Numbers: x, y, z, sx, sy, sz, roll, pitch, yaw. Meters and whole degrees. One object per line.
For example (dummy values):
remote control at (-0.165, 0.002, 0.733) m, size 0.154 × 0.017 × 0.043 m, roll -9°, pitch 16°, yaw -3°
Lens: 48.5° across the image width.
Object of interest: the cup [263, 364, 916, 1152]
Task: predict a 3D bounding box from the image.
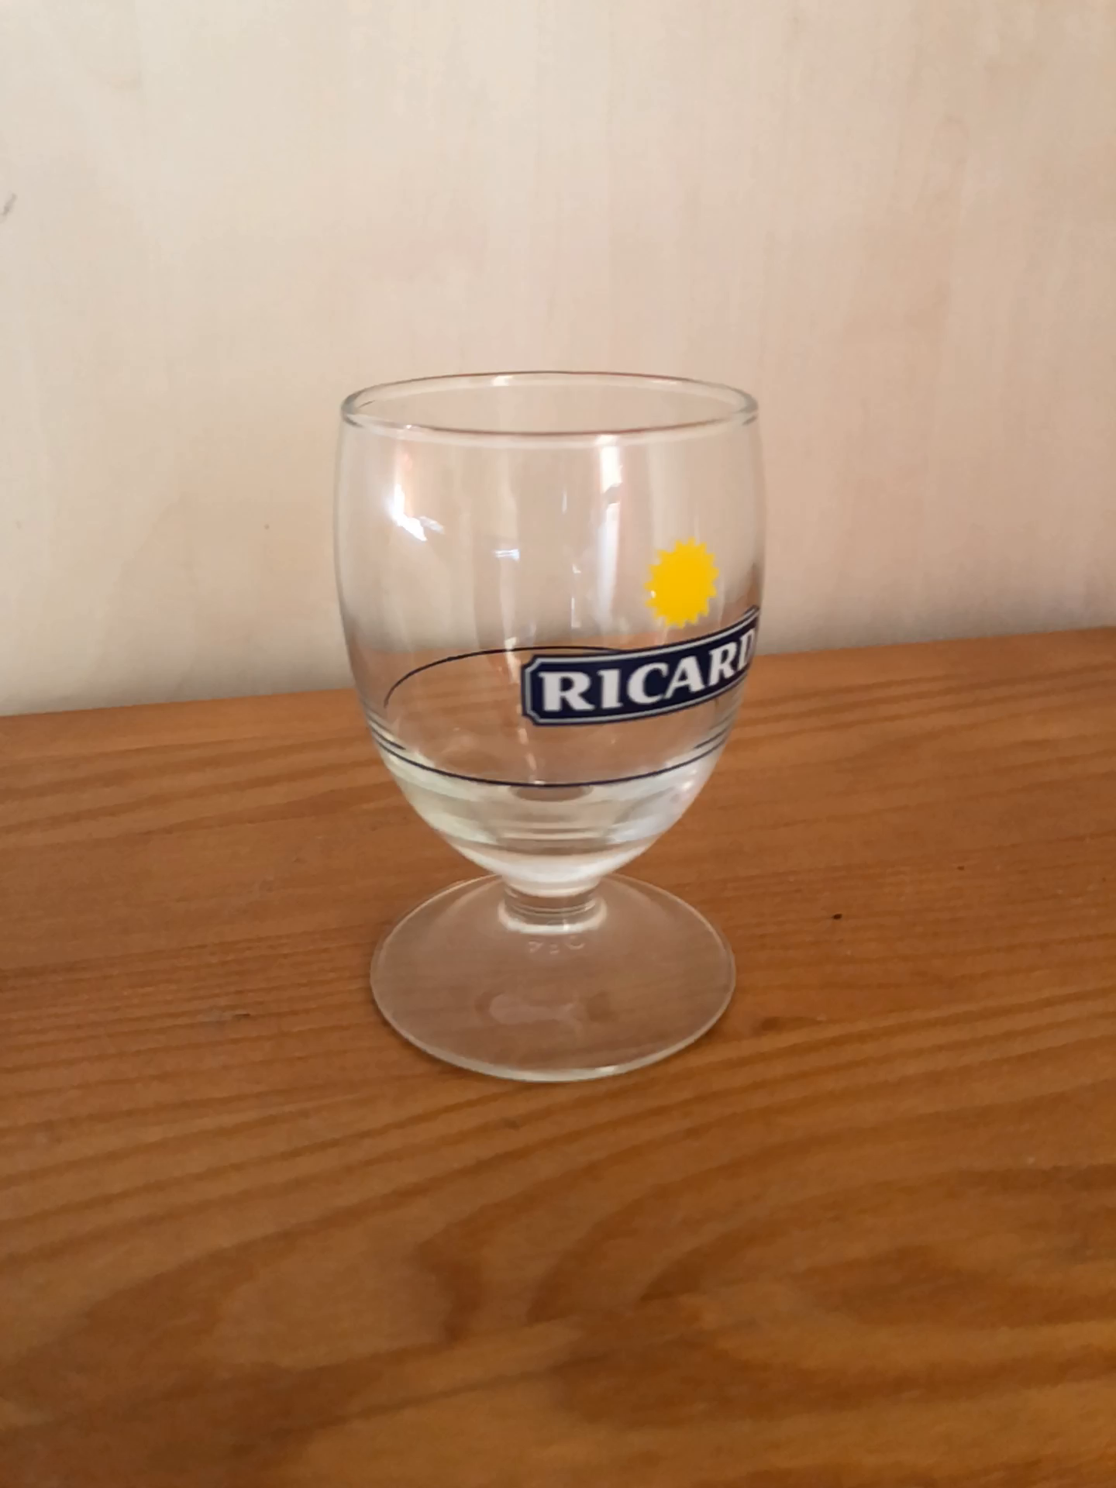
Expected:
cup at (0.002, -0.006, 0.202) m, size 0.070 × 0.098 × 0.069 m, roll 1°, pitch 23°, yaw 0°
